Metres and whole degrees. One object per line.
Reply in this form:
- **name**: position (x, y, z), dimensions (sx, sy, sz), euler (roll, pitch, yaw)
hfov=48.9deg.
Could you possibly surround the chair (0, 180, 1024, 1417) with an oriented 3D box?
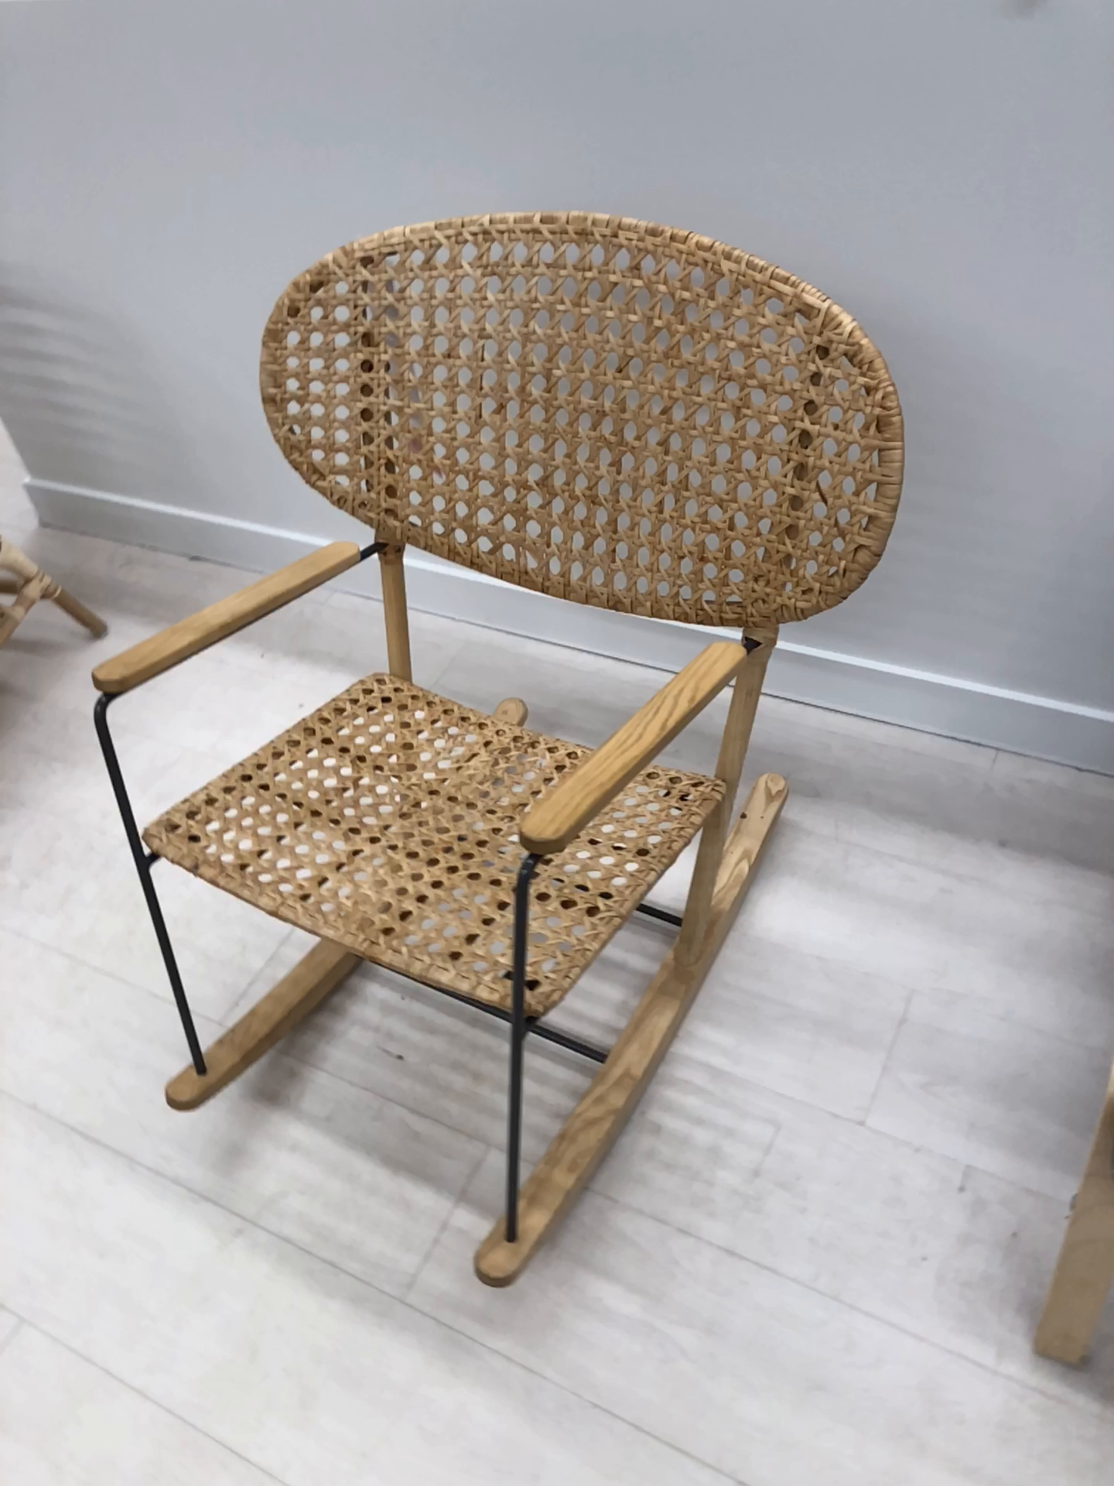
- **chair**: position (-0.089, -0.013, 1.347), dimensions (0.831, 0.787, 0.852), euler (18, 52, 26)
